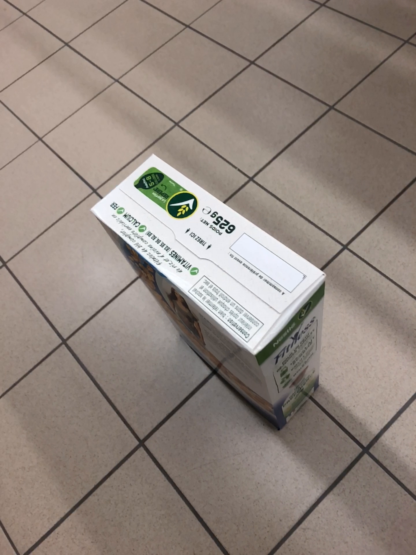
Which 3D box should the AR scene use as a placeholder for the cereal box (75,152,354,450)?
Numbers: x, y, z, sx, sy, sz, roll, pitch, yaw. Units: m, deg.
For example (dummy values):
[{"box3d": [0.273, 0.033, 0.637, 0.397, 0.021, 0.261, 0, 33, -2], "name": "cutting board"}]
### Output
[{"box3d": [0.021, 0.048, 0.476, 0.210, 0.299, 0.090, 38, 75, 27], "name": "cereal box"}]
